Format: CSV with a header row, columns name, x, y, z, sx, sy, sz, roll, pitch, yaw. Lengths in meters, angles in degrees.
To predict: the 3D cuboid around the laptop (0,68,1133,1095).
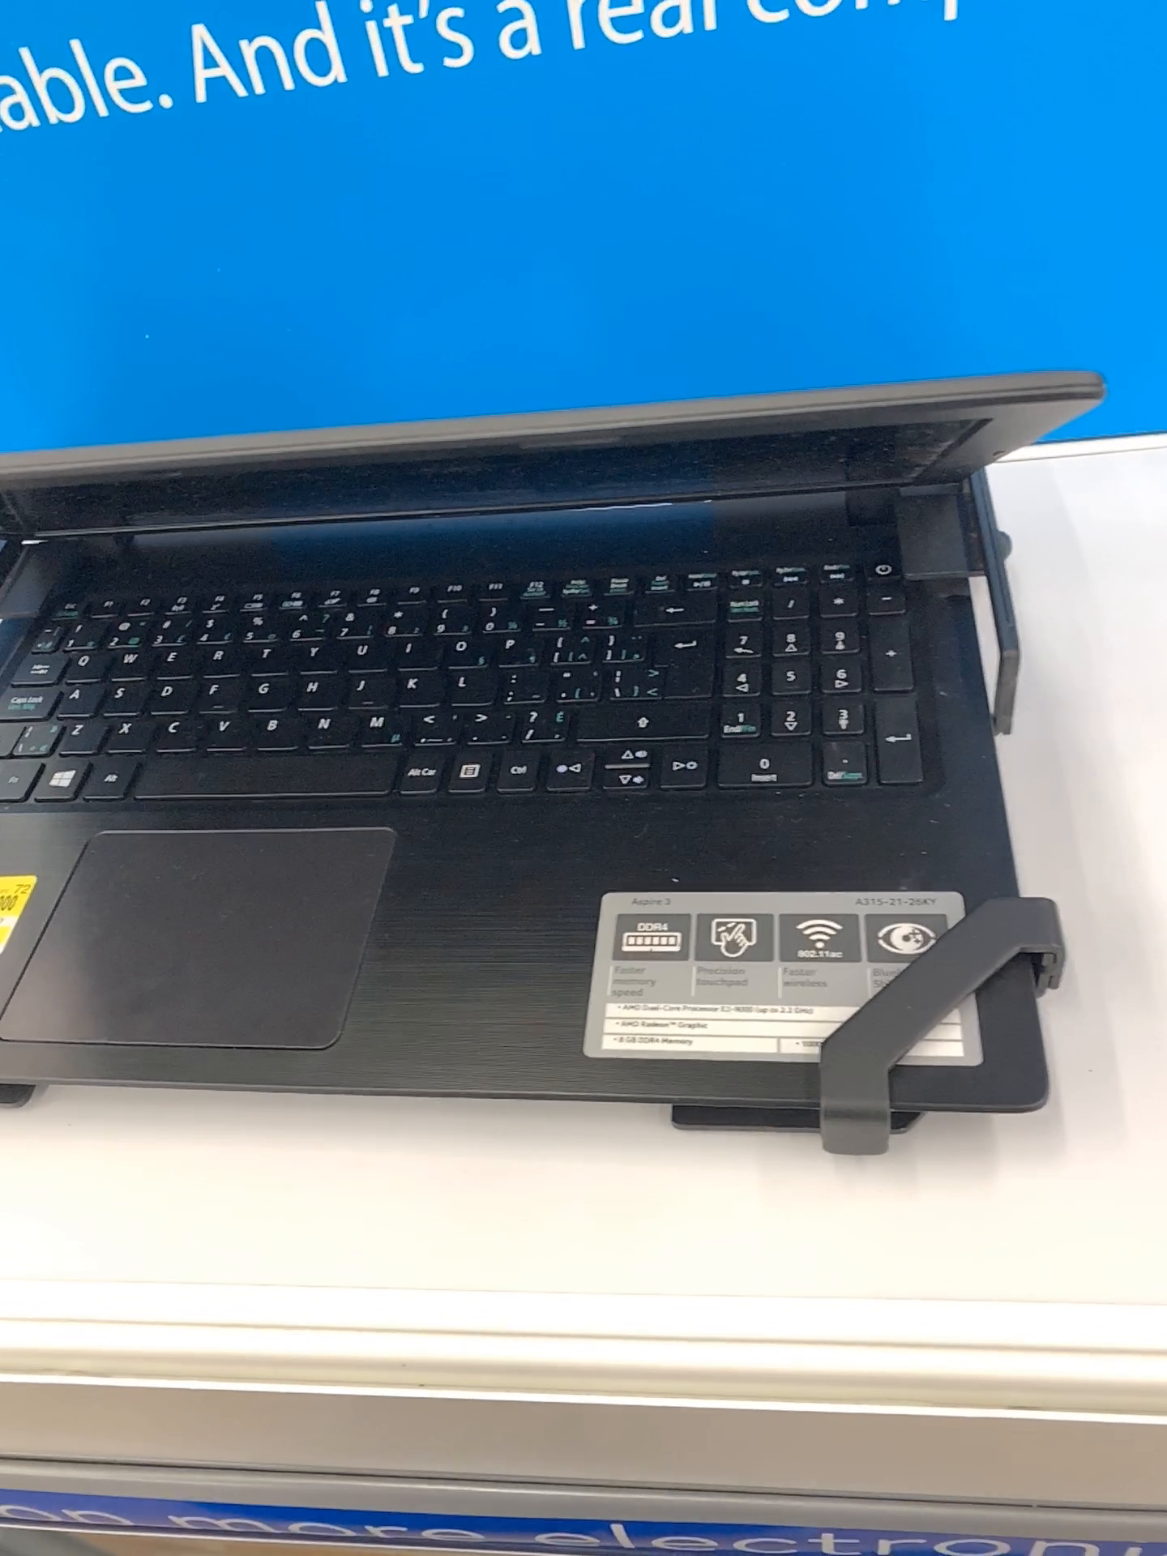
name,x,y,z,sx,sy,sz,roll,pitch,yaw
laptop,-0.071,-0.055,0.338,0.364,0.137,0.222,-1,51,10
